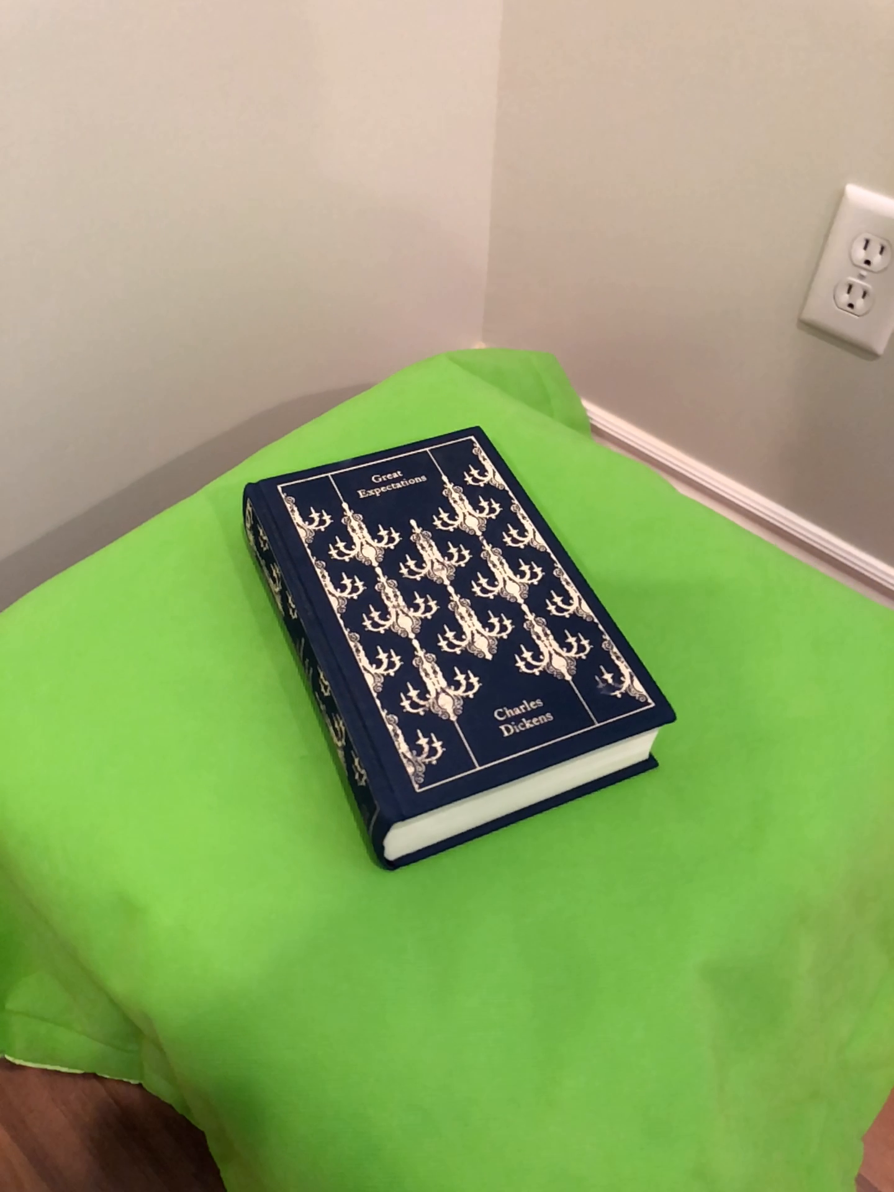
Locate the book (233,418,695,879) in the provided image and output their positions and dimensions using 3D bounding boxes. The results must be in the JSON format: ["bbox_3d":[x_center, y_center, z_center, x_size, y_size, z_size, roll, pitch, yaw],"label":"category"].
[{"bbox_3d":[-0.003,0.009,0.470,0.140,0.040,0.211,-17,52,-17],"label":"book"}]
